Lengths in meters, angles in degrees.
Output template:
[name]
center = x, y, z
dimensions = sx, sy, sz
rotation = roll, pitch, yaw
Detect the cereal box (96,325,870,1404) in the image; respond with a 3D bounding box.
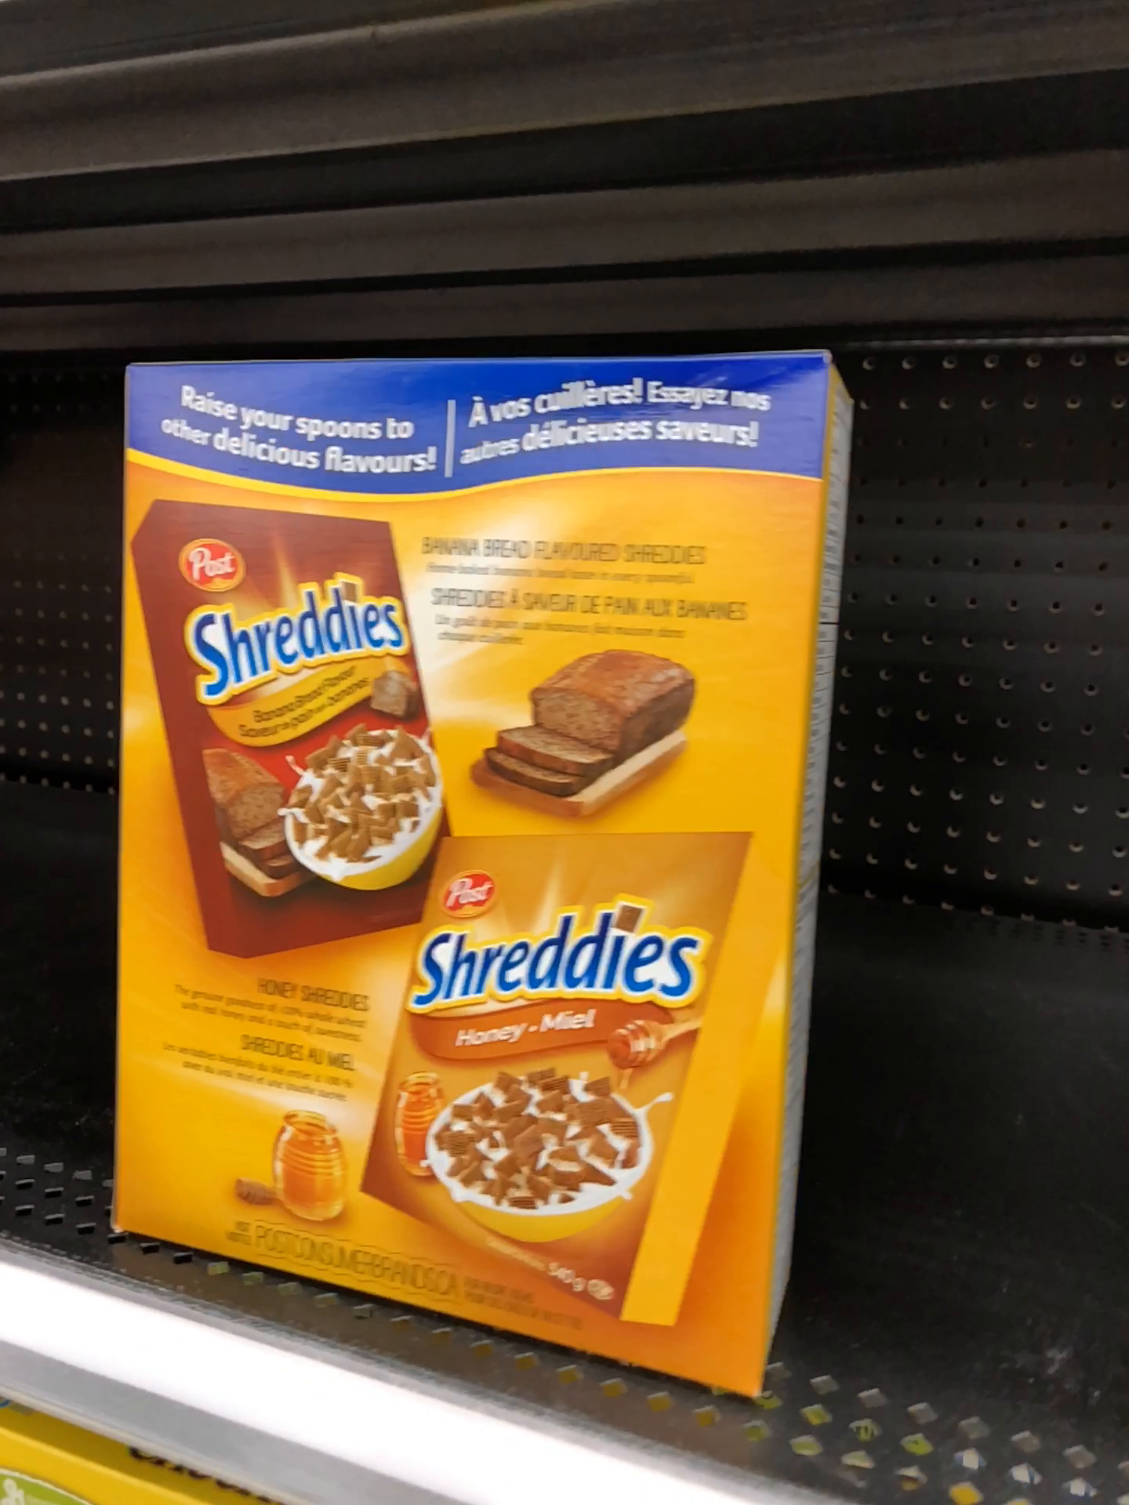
[cereal box]
center = -0.030, 0.021, 0.371
dimensions = 0.210, 0.269, 0.060
rotation = 5, 6, 19
